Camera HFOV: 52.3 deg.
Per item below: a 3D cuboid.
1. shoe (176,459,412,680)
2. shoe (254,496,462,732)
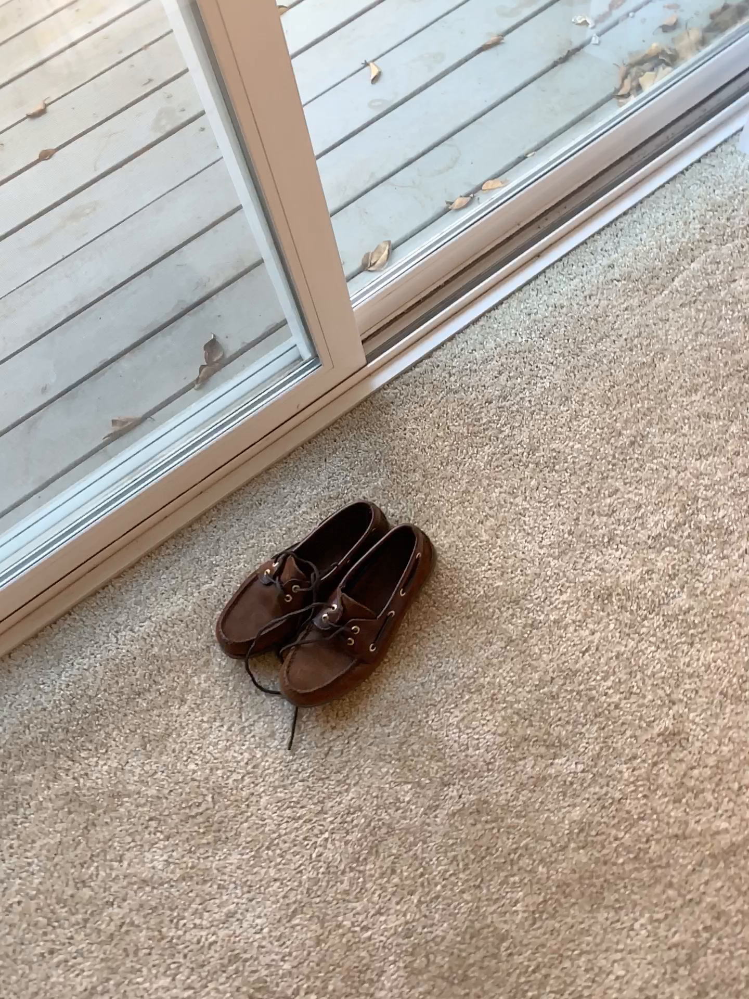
[{"bbox_3d":[-0.103,0.095,1.042,0.300,0.100,0.110,-39,65,-10],"label":"shoe"},{"bbox_3d":[-0.013,0.150,1.009,0.100,0.100,0.290,34,74,21],"label":"shoe"}]
